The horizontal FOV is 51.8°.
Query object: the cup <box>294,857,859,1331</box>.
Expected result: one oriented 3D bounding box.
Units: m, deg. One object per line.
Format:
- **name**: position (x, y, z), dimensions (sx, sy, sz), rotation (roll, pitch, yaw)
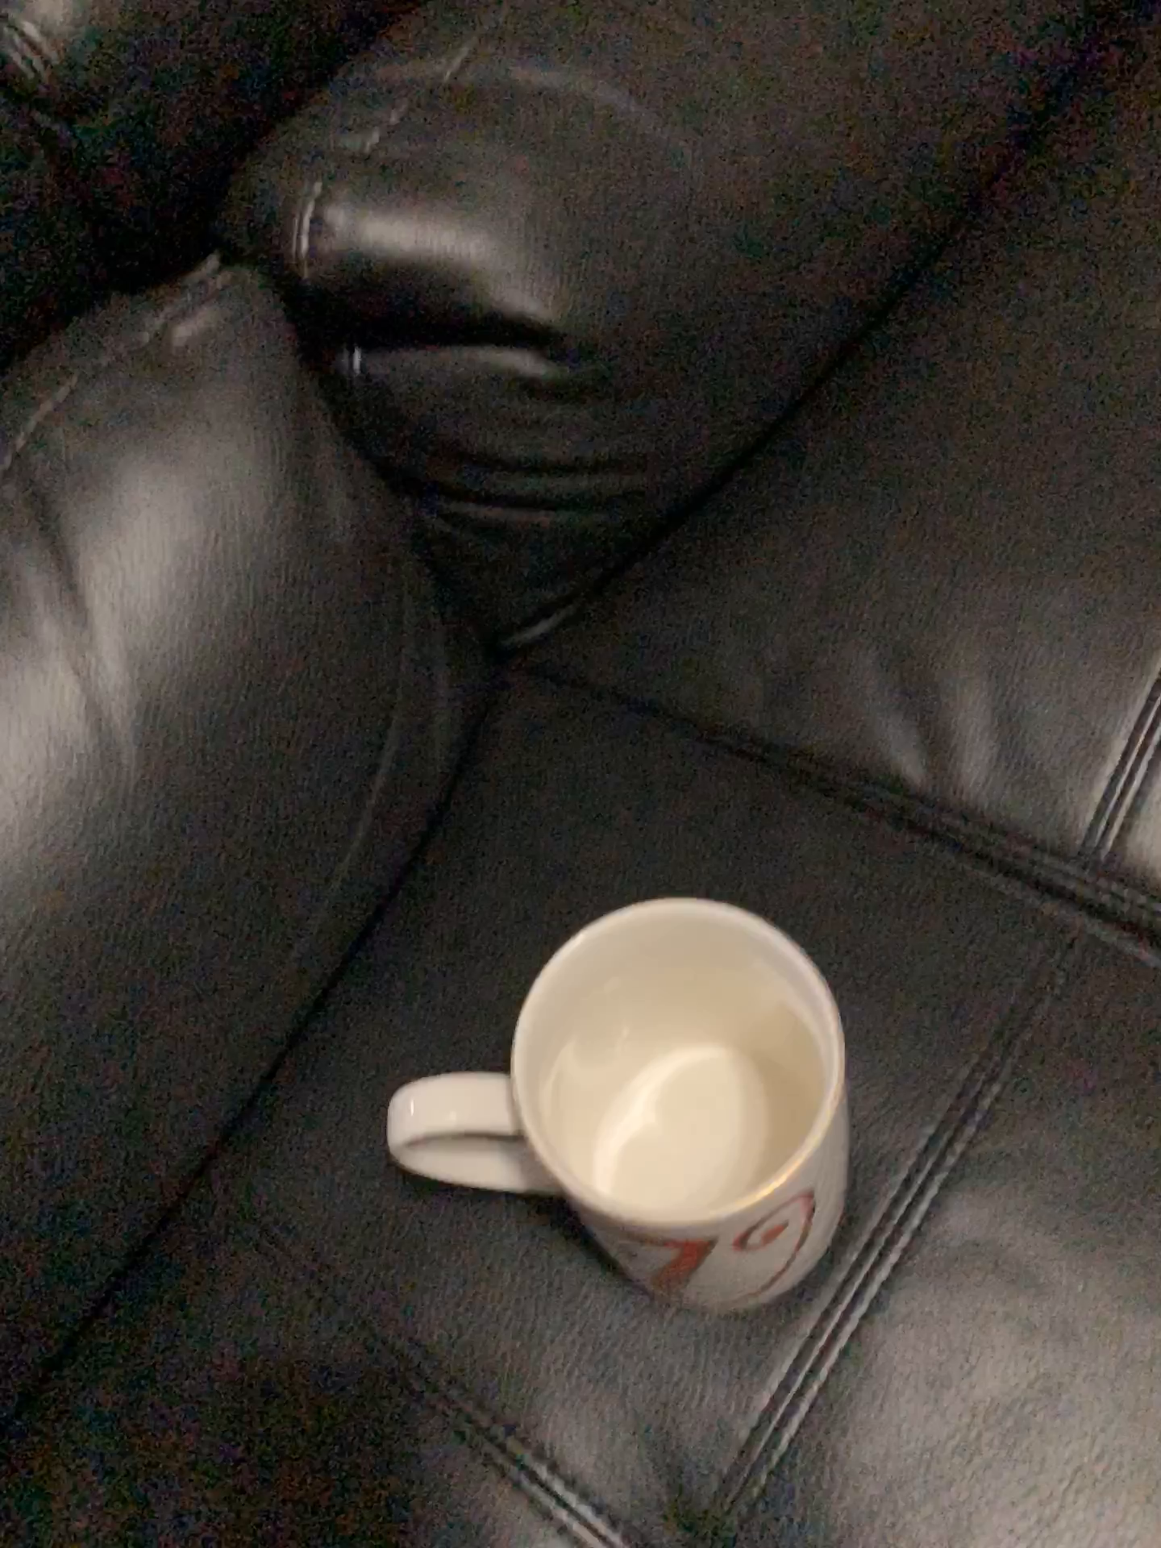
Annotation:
- **cup**: position (0.006, 0.102, 0.362), dimensions (0.138, 0.107, 0.098), rotation (-7, 53, 9)
